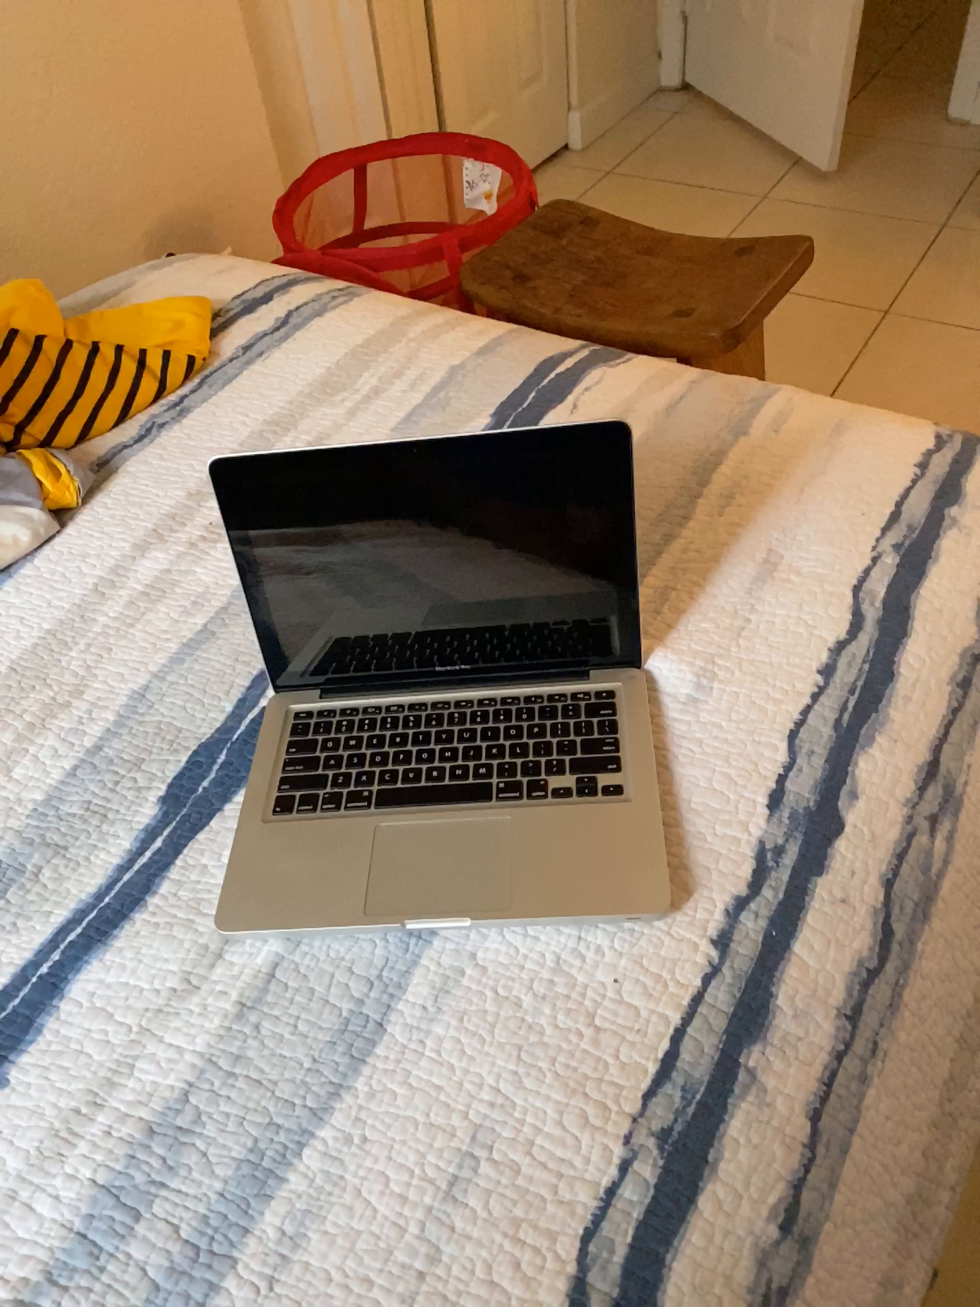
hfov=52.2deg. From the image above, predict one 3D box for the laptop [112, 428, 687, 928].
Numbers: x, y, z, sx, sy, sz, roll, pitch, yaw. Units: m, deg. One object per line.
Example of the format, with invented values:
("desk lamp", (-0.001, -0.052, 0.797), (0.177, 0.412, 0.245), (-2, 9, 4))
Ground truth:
("laptop", (-0.043, 0.015, 0.713), (0.318, 0.199, 0.279), (-4, 46, 5))
